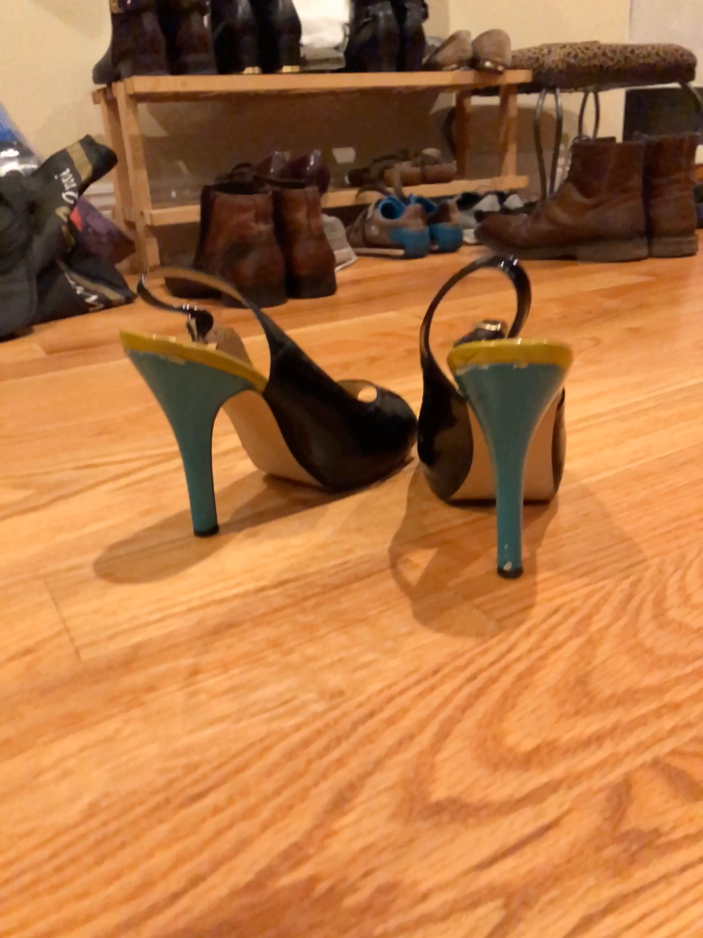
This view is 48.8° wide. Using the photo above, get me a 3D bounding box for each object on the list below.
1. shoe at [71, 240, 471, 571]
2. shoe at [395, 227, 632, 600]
[{"bbox_3d":[-0.030,-0.051,0.433,0.085,0.121,0.204,18,31,42],"label":"shoe"},{"bbox_3d":[0.072,-0.044,0.401,0.085,0.131,0.202,-1,23,6],"label":"shoe"}]
